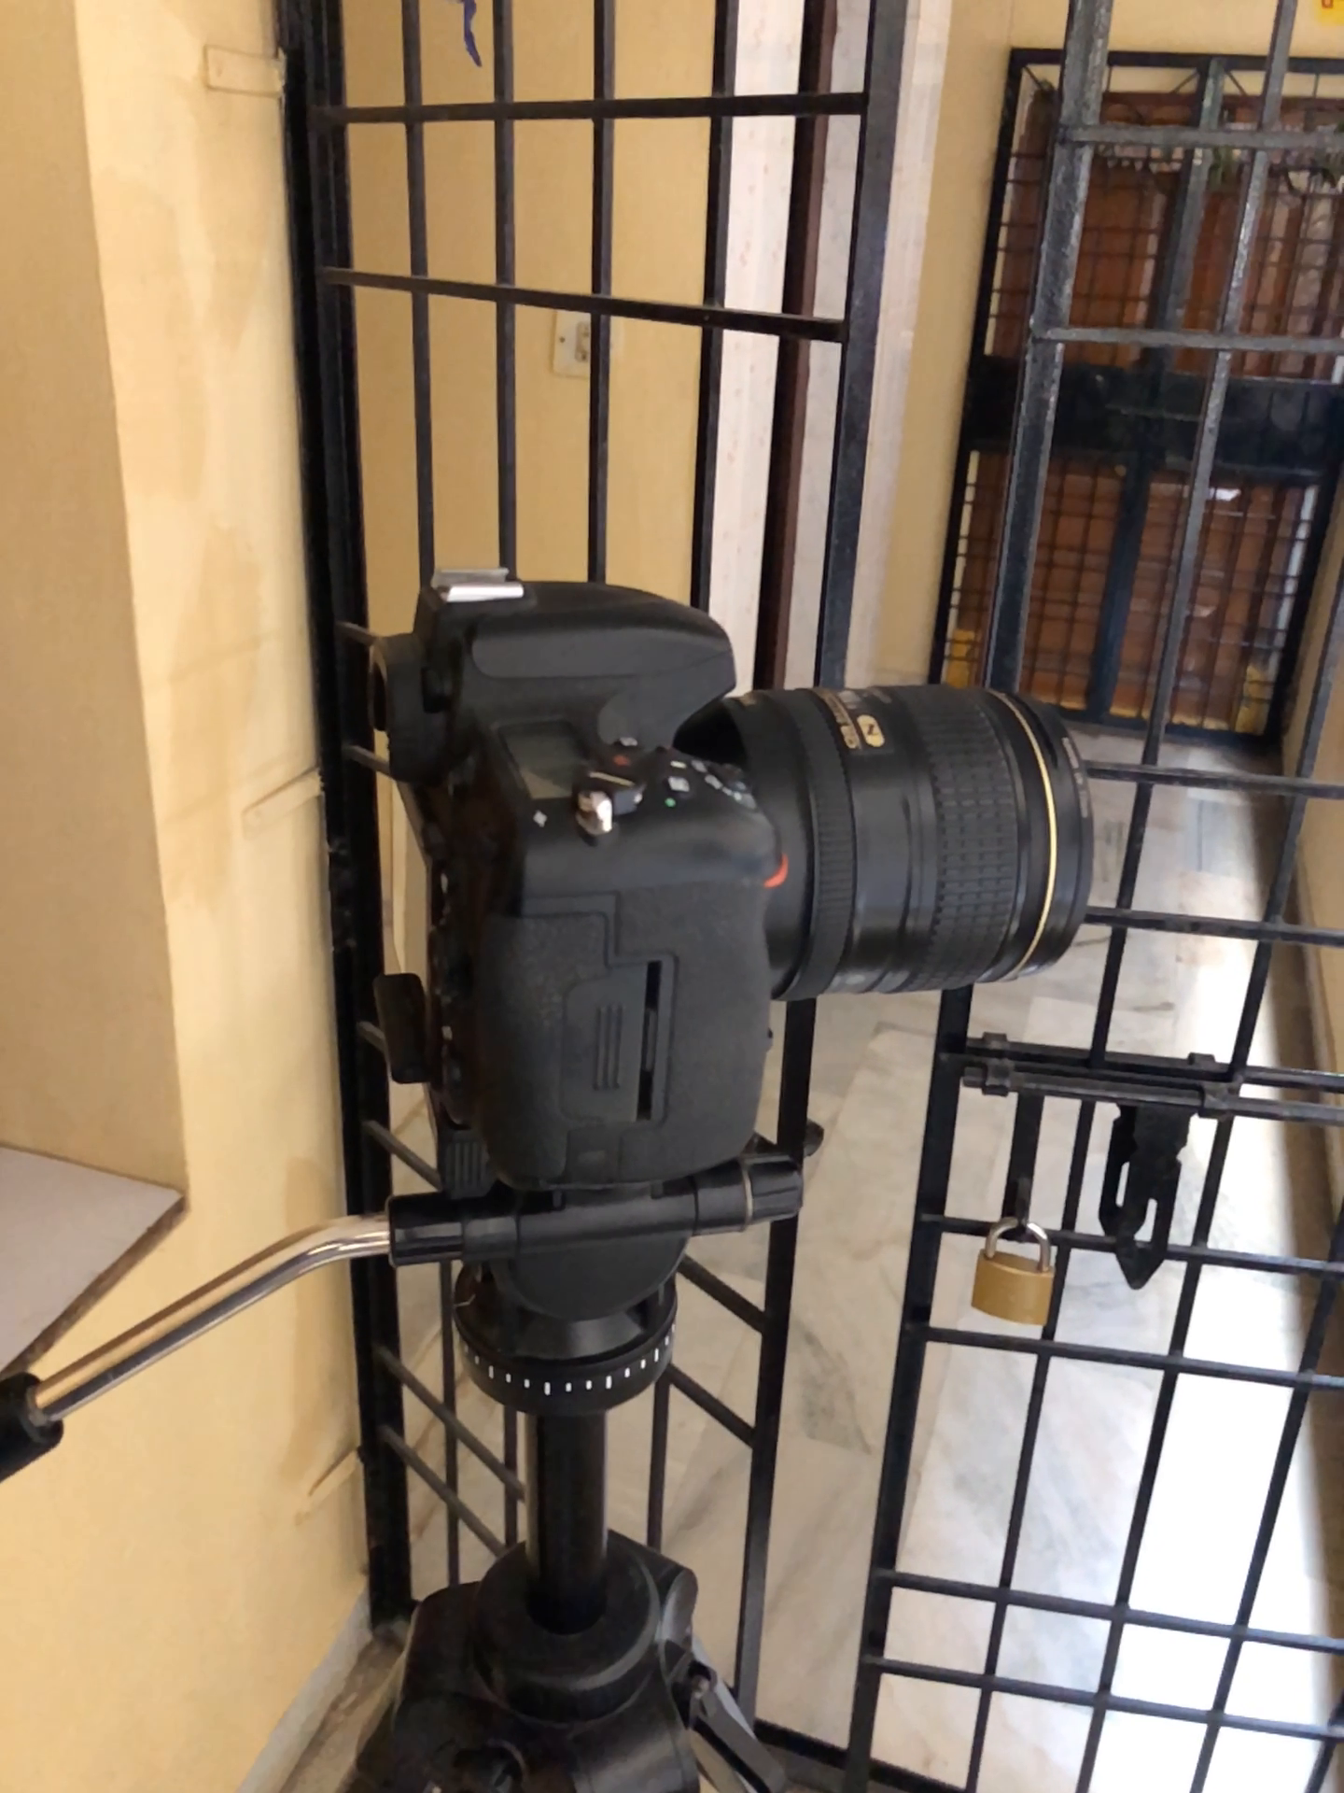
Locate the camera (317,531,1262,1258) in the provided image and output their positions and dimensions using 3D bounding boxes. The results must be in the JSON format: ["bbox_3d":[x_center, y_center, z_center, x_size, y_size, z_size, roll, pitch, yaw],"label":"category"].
[{"bbox_3d":[0.008,-0.019,0.363,0.171,0.105,0.171,-4,25,-15],"label":"camera"}]
